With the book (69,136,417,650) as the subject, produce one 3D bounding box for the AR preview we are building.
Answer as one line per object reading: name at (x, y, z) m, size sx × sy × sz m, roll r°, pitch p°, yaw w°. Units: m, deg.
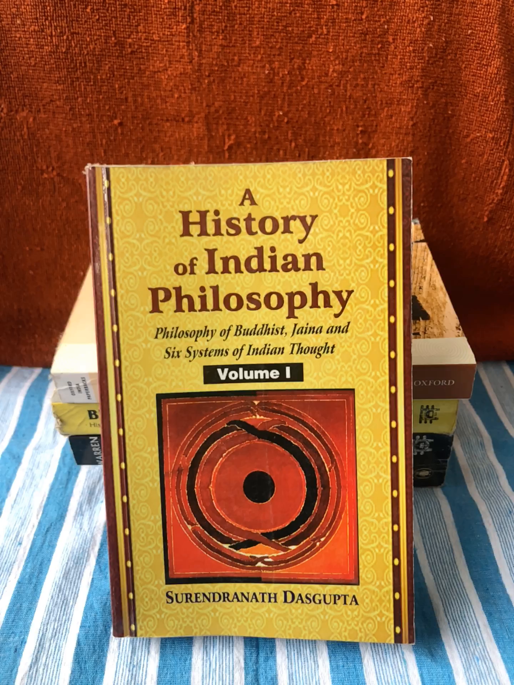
book at (-0.003, 0.025, 0.268) m, size 0.141 × 0.216 × 0.048 m, roll -2°, pitch 5°, yaw 5°
